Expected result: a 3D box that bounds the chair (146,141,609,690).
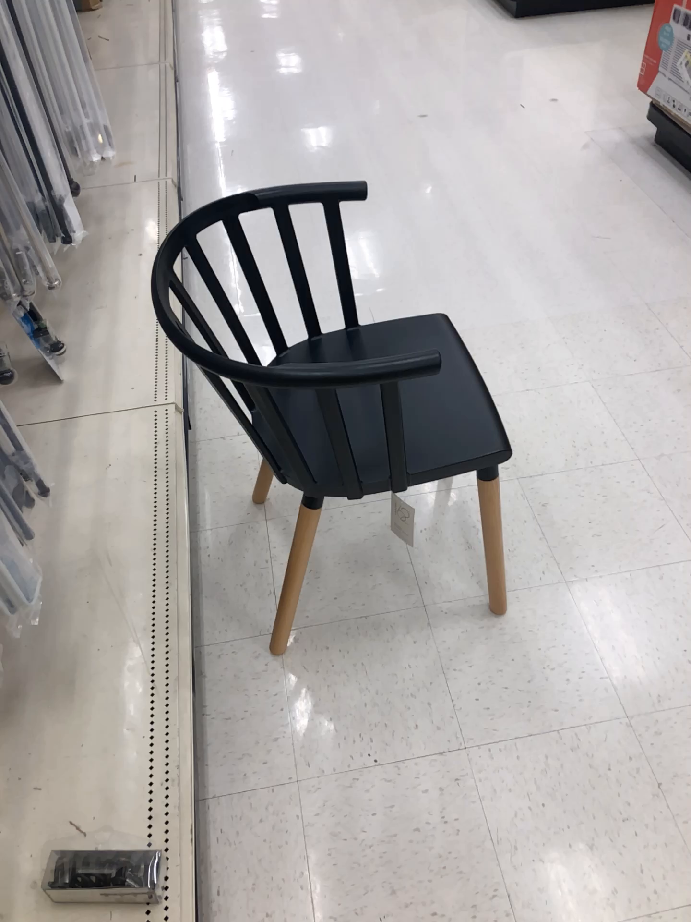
[{"bbox_3d":[0.021,-0.064,1.354,0.567,0.731,0.536,-9,45,-5],"label":"chair"}]
